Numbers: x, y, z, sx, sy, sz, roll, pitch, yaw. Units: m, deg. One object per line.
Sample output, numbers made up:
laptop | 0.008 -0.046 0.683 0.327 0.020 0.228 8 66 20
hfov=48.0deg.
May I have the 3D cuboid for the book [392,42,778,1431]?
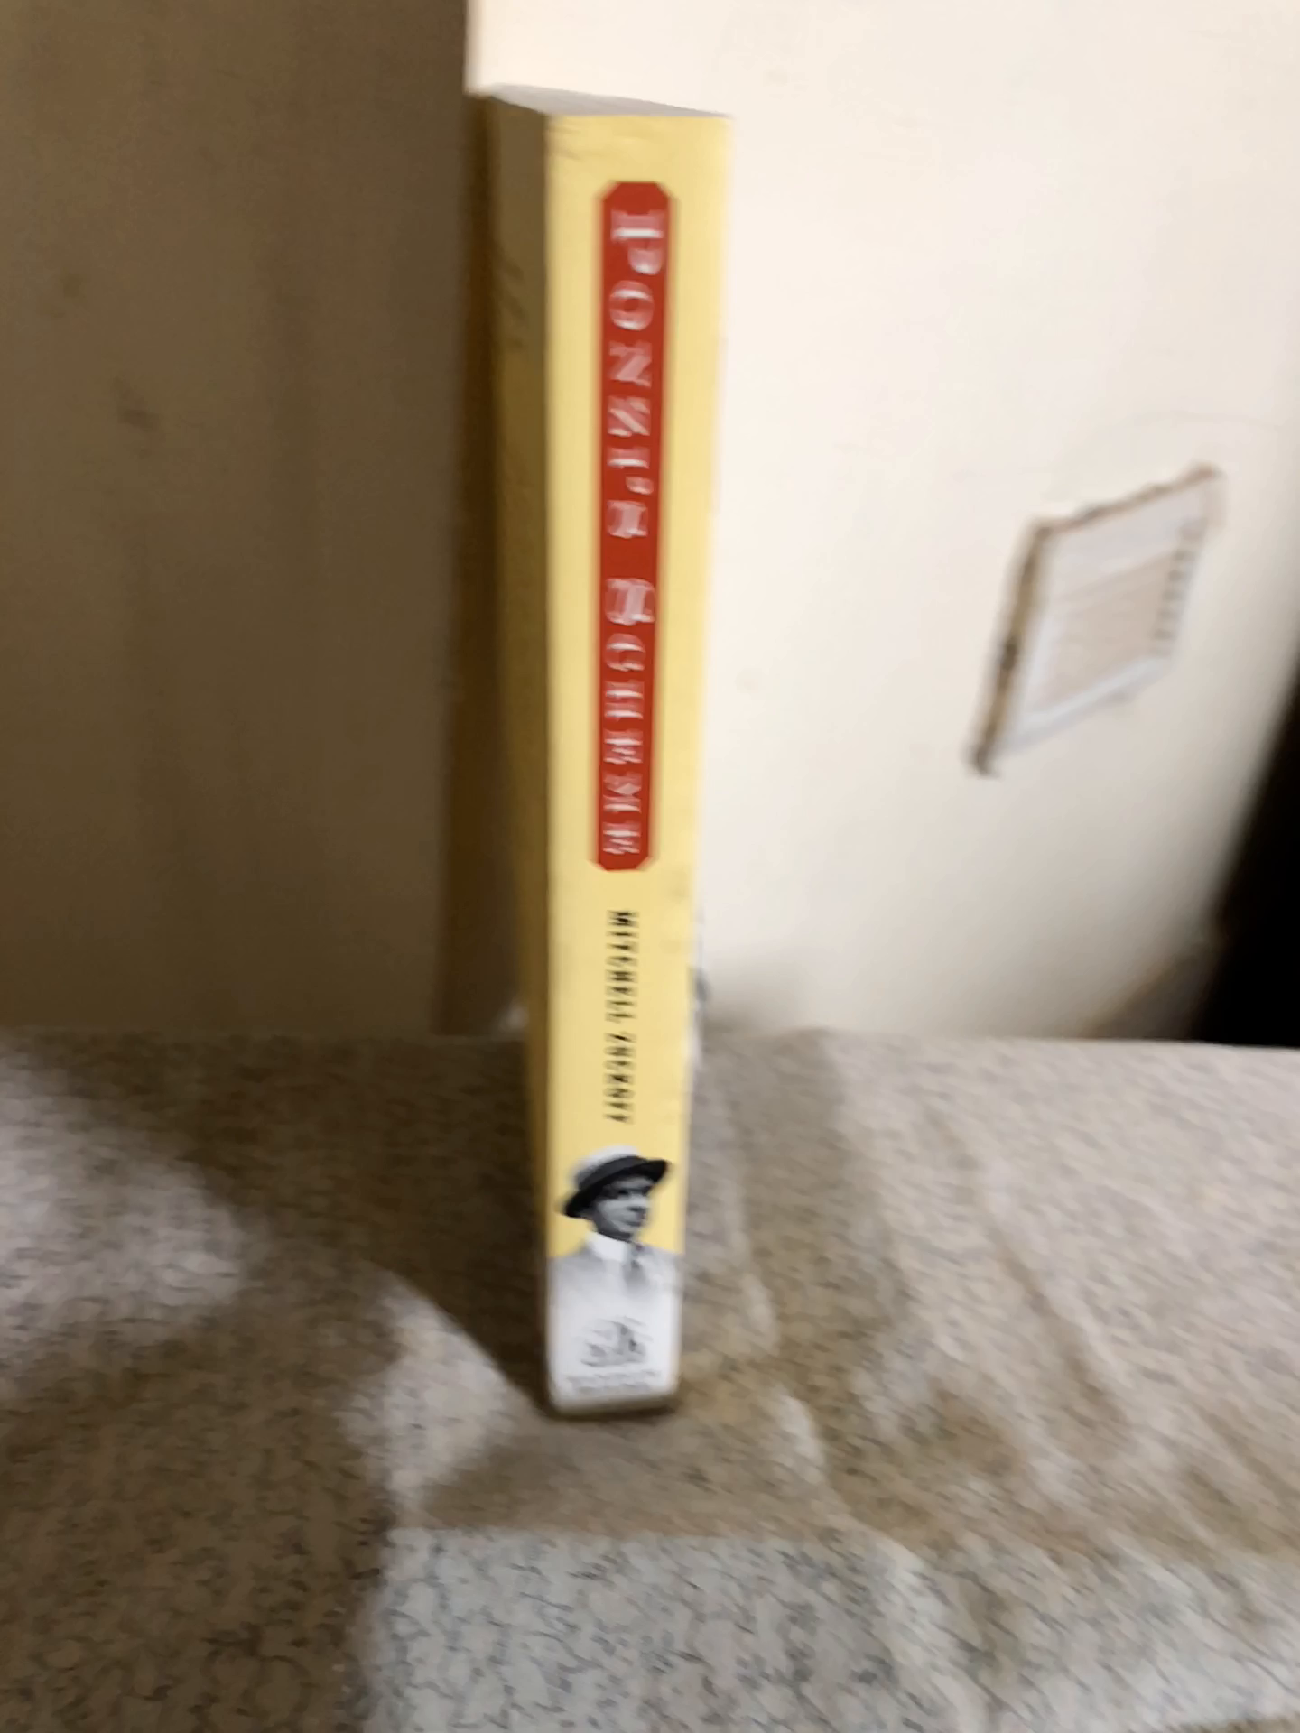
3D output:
book | -0.010 -0.028 0.264 0.040 0.209 0.141 1 29 -1
